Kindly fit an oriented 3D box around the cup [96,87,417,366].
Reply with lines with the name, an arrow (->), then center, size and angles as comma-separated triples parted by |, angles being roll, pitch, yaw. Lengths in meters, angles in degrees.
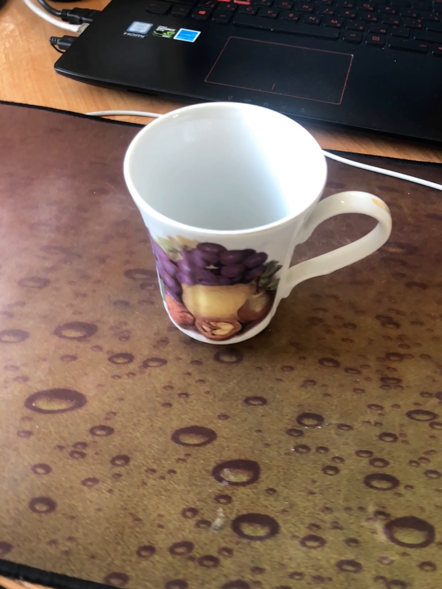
cup -> 0.012, -0.028, 0.209 | 0.100, 0.080, 0.080 | 3, 52, 1
